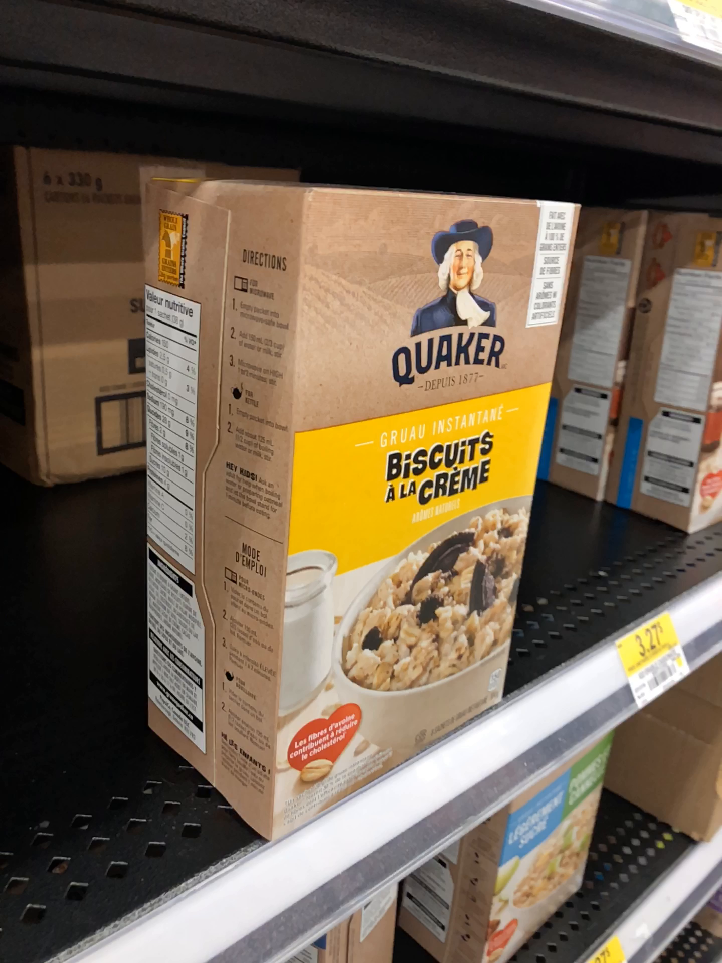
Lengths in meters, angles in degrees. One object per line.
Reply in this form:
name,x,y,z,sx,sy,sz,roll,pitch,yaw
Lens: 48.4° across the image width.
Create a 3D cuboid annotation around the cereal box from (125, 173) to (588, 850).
cereal box,-0.004,-0.001,0.278,0.120,0.189,0.080,-14,27,-41
